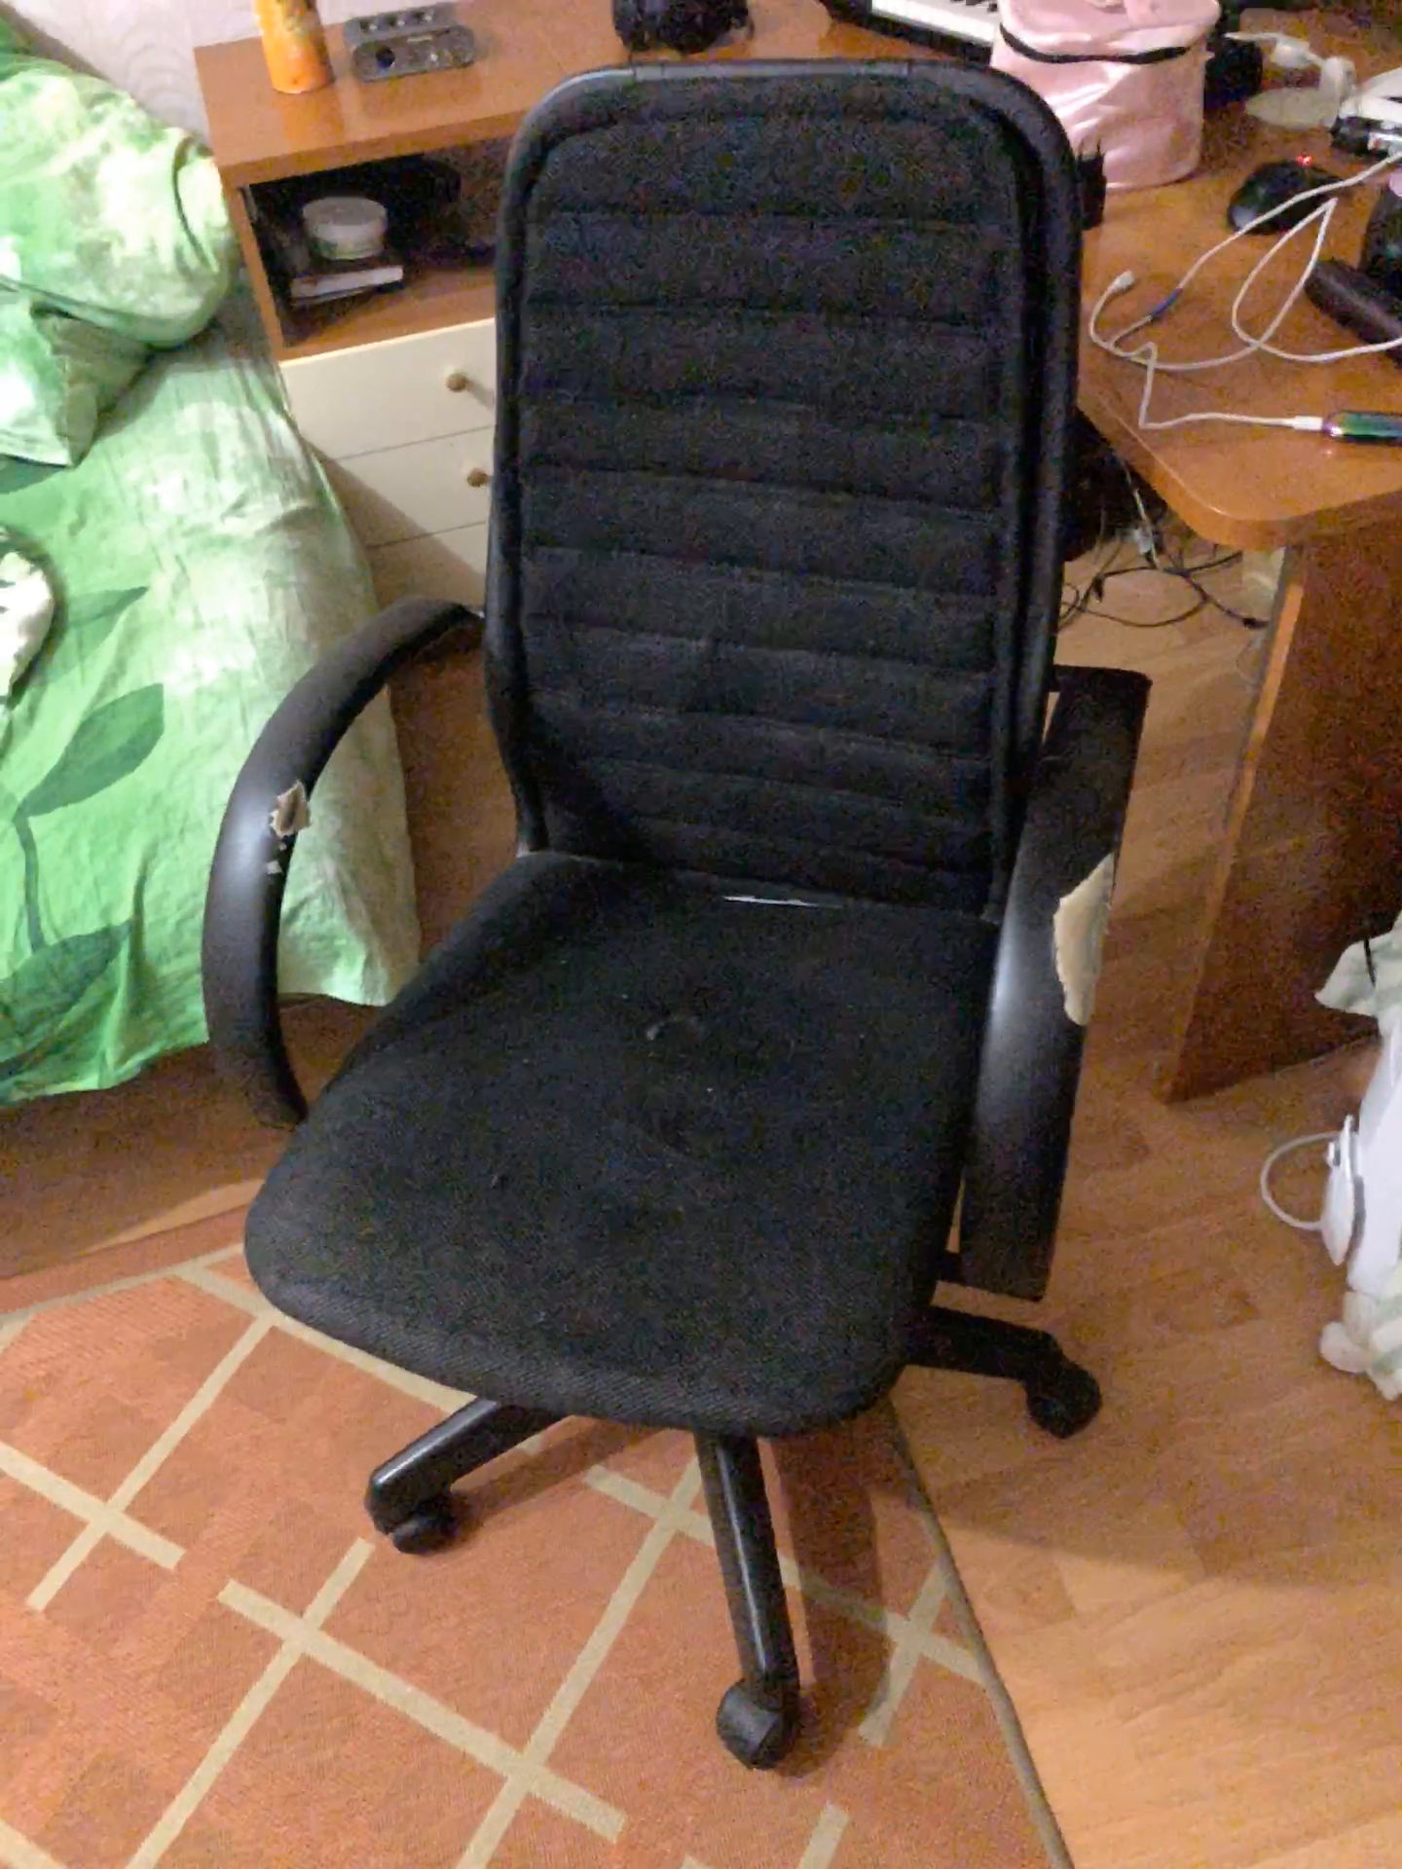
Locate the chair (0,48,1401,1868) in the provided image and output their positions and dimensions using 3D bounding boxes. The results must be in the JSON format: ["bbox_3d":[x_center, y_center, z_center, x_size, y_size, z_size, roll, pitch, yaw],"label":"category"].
[{"bbox_3d":[-0.004,0.049,1.015,0.671,0.992,0.725,9,48,14],"label":"chair"}]
